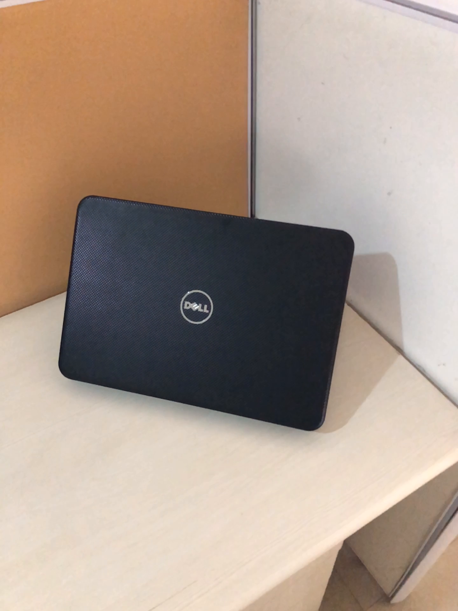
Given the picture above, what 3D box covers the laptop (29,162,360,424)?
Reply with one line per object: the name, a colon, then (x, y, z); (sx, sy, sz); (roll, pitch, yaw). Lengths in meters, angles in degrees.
laptop: (-0.020, -0.032, 0.690); (0.352, 0.179, 0.256); (11, 45, 9)
